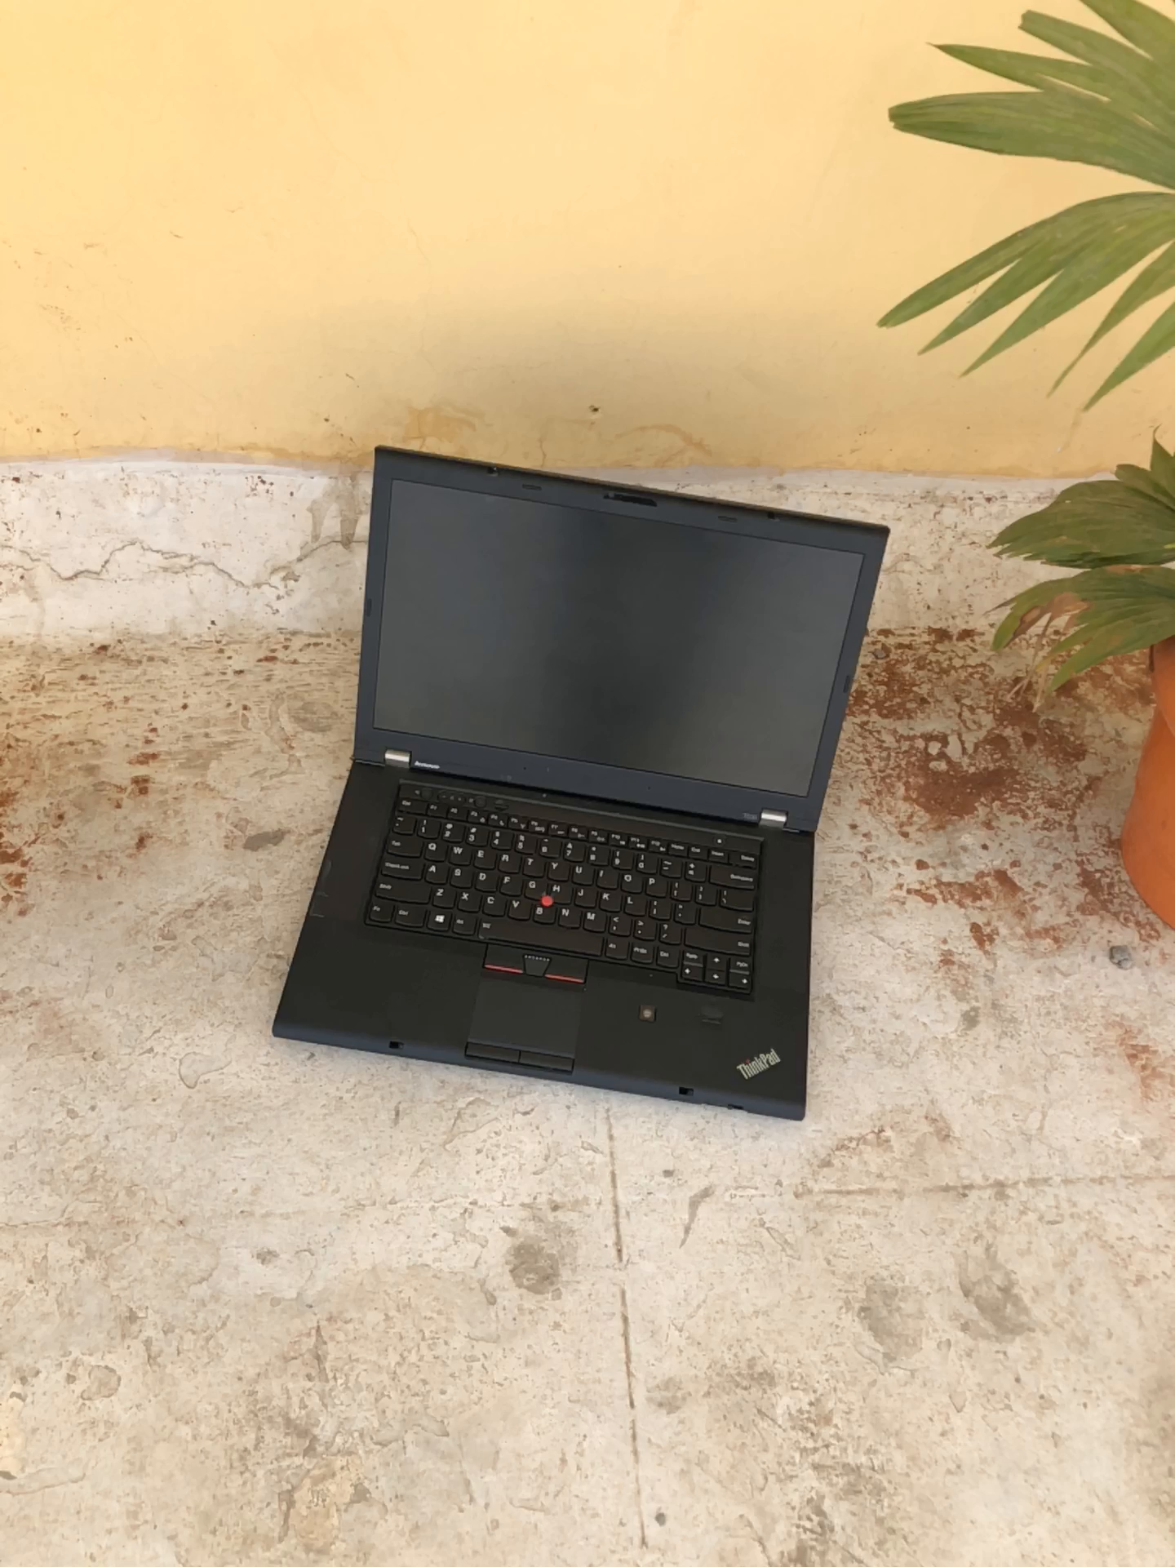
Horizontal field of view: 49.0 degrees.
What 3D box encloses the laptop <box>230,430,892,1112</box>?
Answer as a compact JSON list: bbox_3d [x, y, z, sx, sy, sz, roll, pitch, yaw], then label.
[{"bbox_3d":[0.000,-0.013,0.885,0.360,0.208,0.353,9,55,1],"label":"laptop"}]
